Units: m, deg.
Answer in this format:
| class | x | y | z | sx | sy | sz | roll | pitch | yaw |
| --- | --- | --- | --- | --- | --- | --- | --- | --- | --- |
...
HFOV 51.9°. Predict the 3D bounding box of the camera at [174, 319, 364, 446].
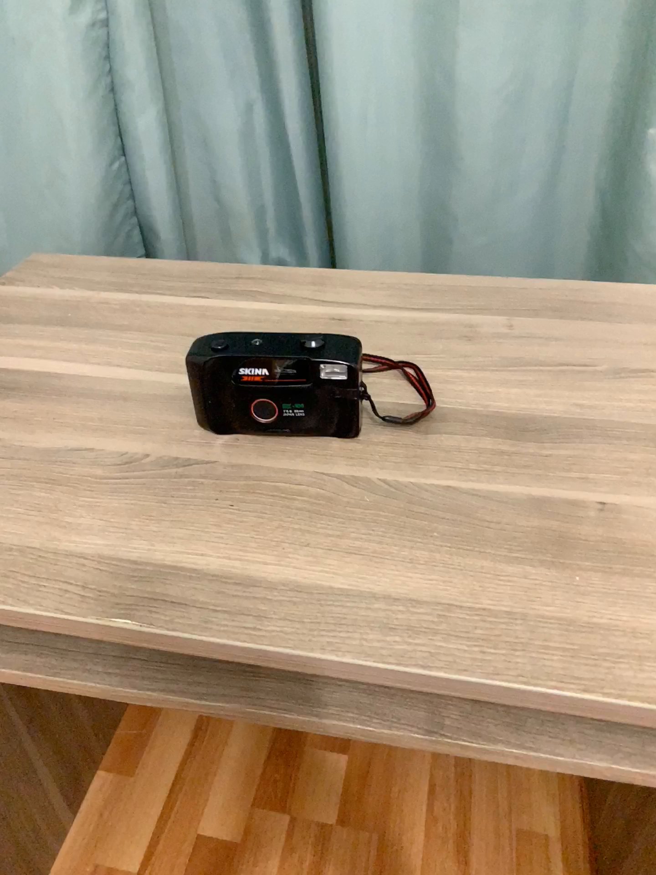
| class | x | y | z | sx | sy | sz | roll | pitch | yaw |
| --- | --- | --- | --- | --- | --- | --- | --- | --- | --- |
| camera | -0.037 | -0.039 | 0.468 | 0.120 | 0.069 | 0.046 | 3 | 35 | 4 |
